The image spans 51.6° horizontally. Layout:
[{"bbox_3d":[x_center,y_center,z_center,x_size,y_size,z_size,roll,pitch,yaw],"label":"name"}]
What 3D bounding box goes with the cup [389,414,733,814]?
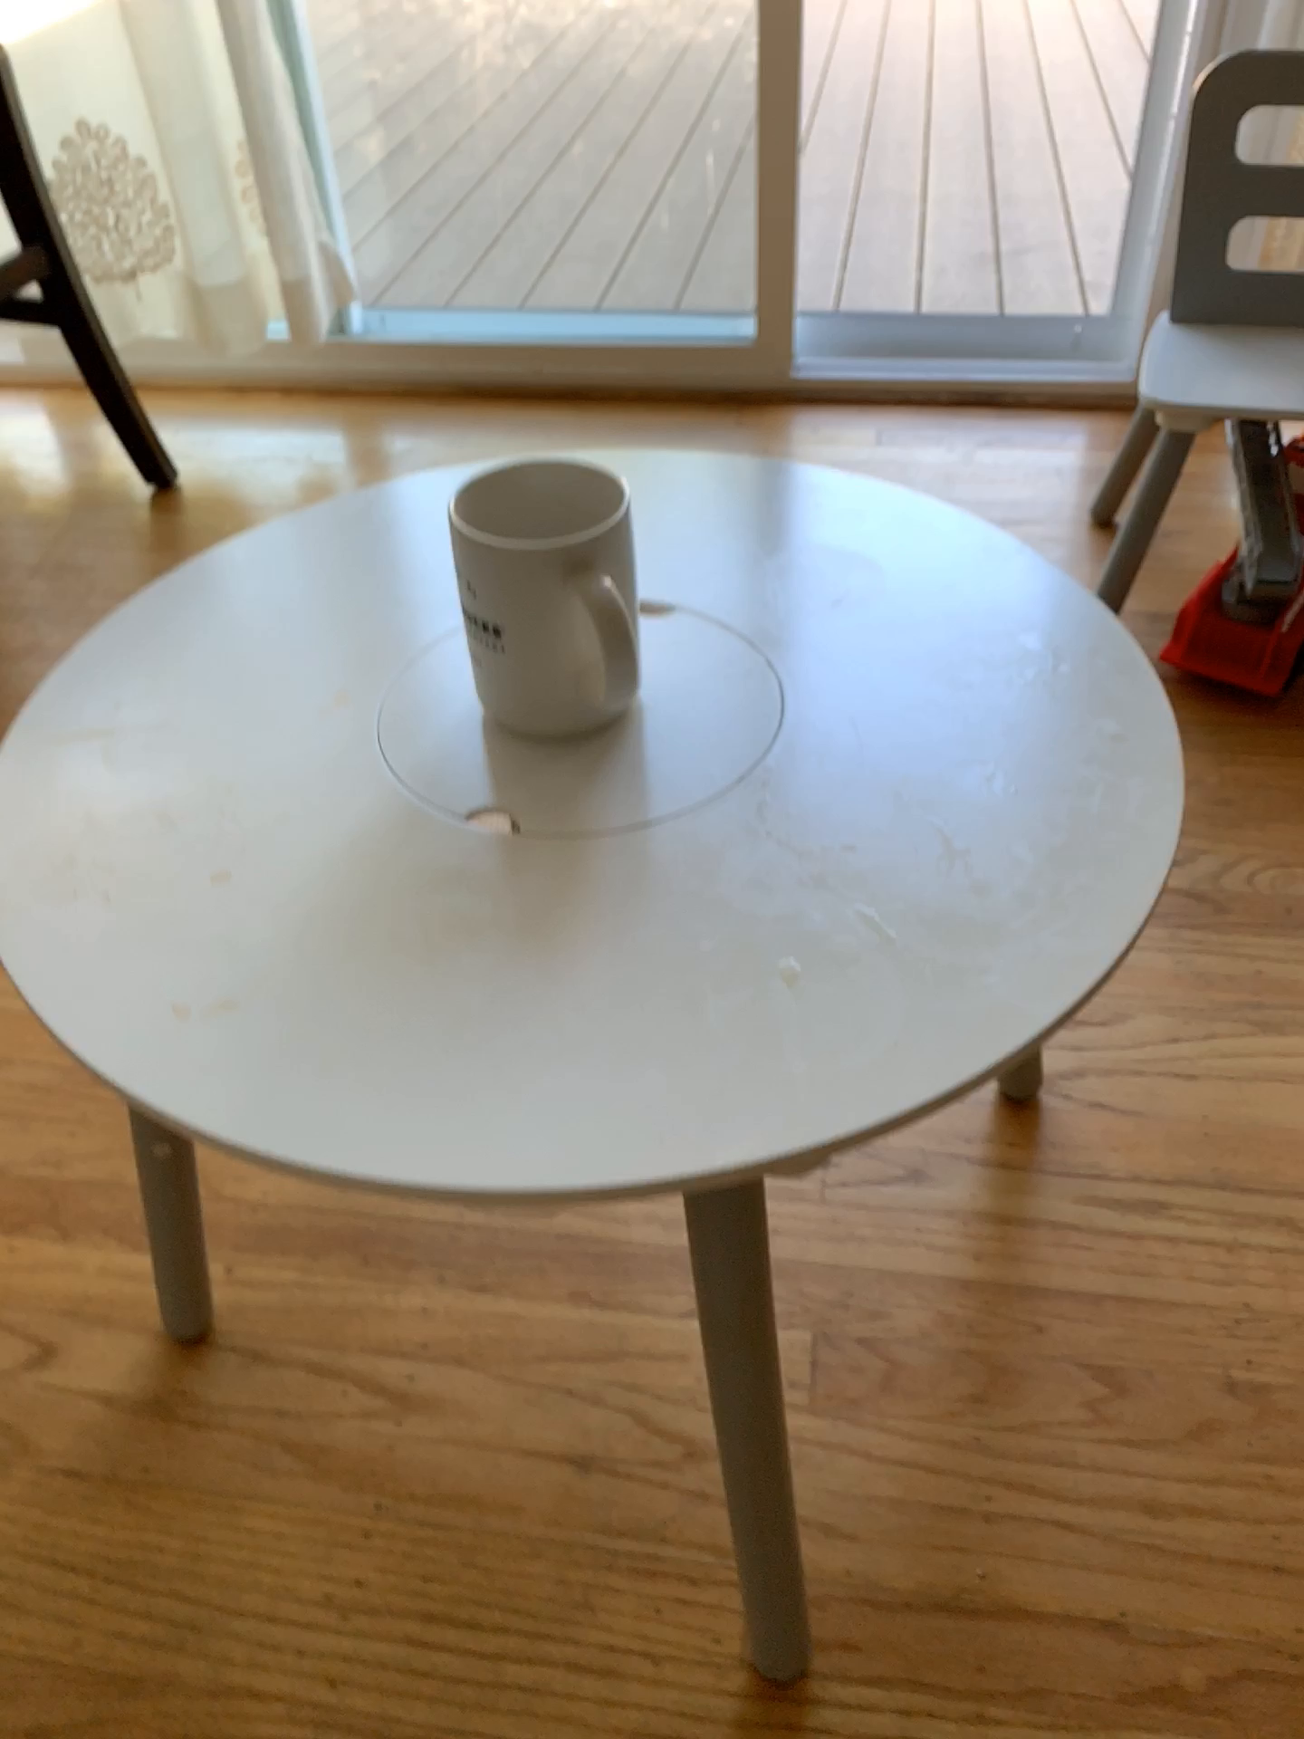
[{"bbox_3d":[-0.041,-0.121,0.621,0.090,0.110,0.141,-26,47,-23],"label":"cup"}]
